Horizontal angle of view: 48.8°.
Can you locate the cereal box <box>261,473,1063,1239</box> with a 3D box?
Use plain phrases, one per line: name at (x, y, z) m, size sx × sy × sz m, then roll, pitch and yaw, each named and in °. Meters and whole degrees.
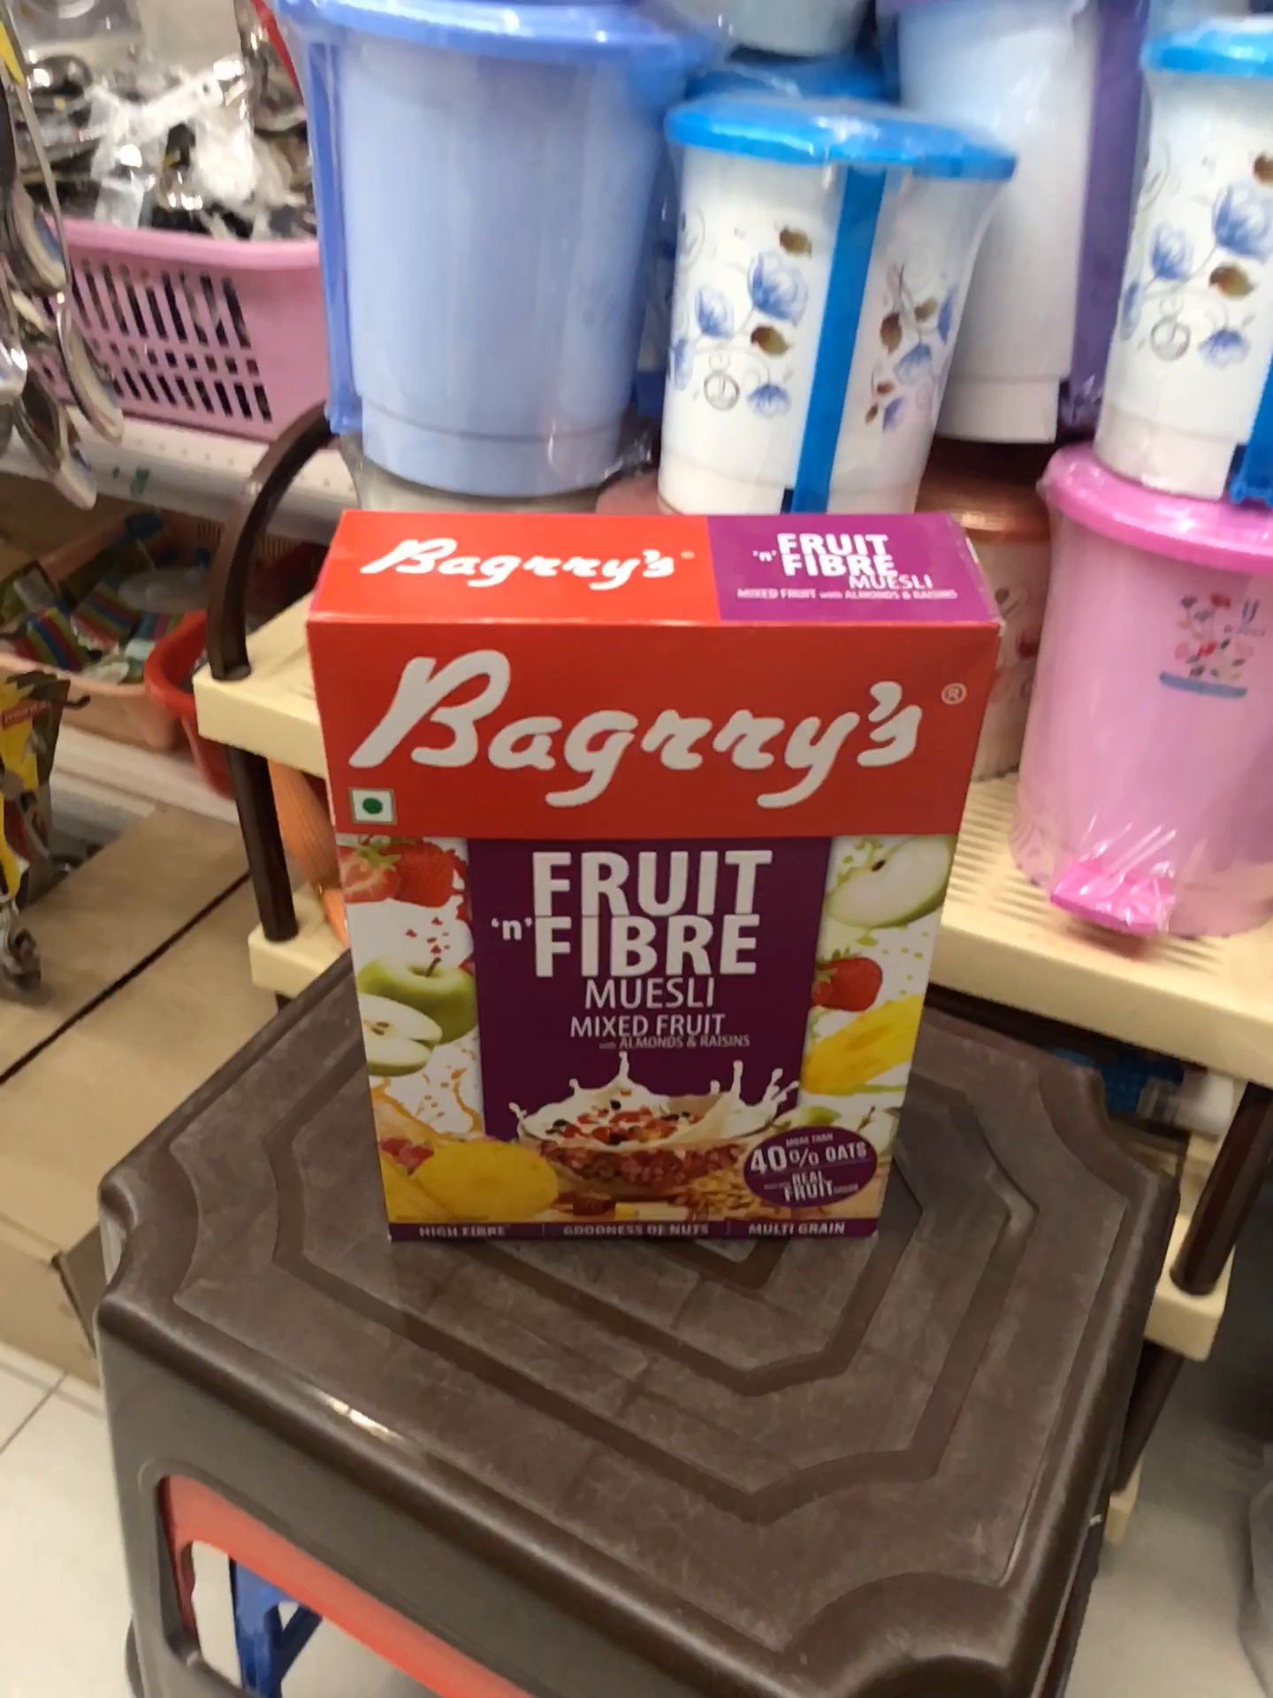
cereal box at (0.004, 0.017, 0.456) m, size 0.200 × 0.259 × 0.070 m, roll 0°, pitch 38°, yaw -1°
